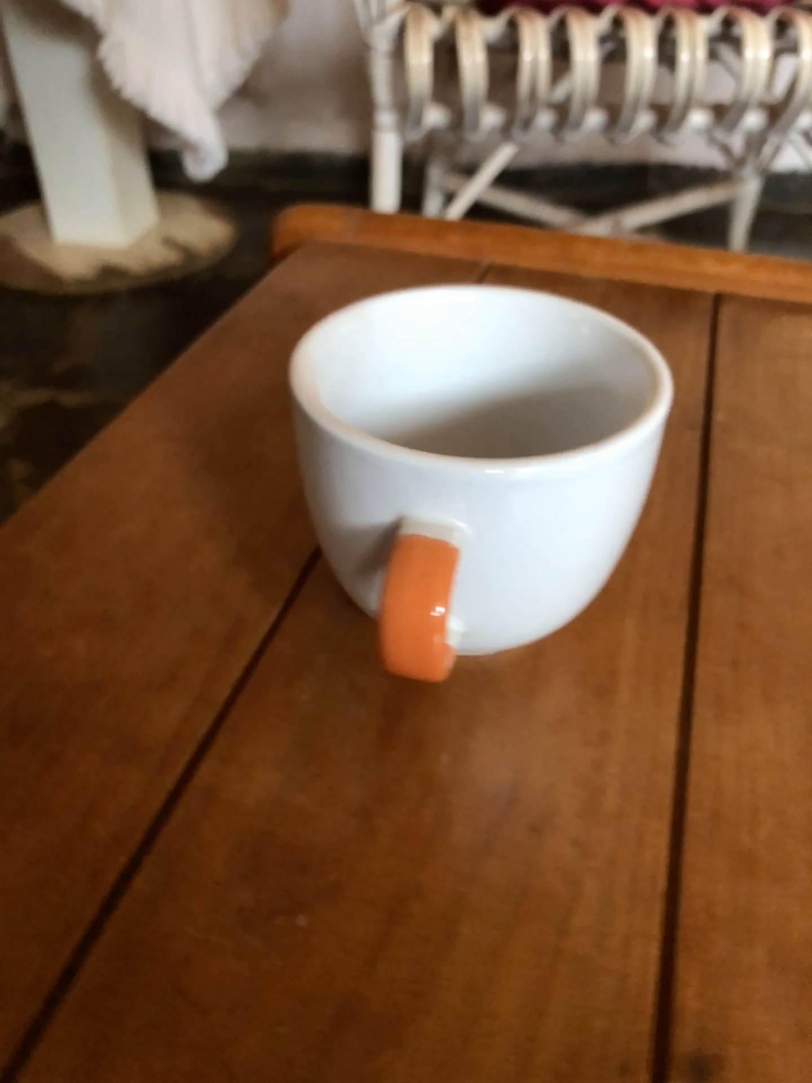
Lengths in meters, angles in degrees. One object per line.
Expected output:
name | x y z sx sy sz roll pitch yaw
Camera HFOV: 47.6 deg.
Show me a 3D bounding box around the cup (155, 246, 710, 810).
cup | 0.015 -0.013 0.206 0.090 0.060 0.111 9 39 11
